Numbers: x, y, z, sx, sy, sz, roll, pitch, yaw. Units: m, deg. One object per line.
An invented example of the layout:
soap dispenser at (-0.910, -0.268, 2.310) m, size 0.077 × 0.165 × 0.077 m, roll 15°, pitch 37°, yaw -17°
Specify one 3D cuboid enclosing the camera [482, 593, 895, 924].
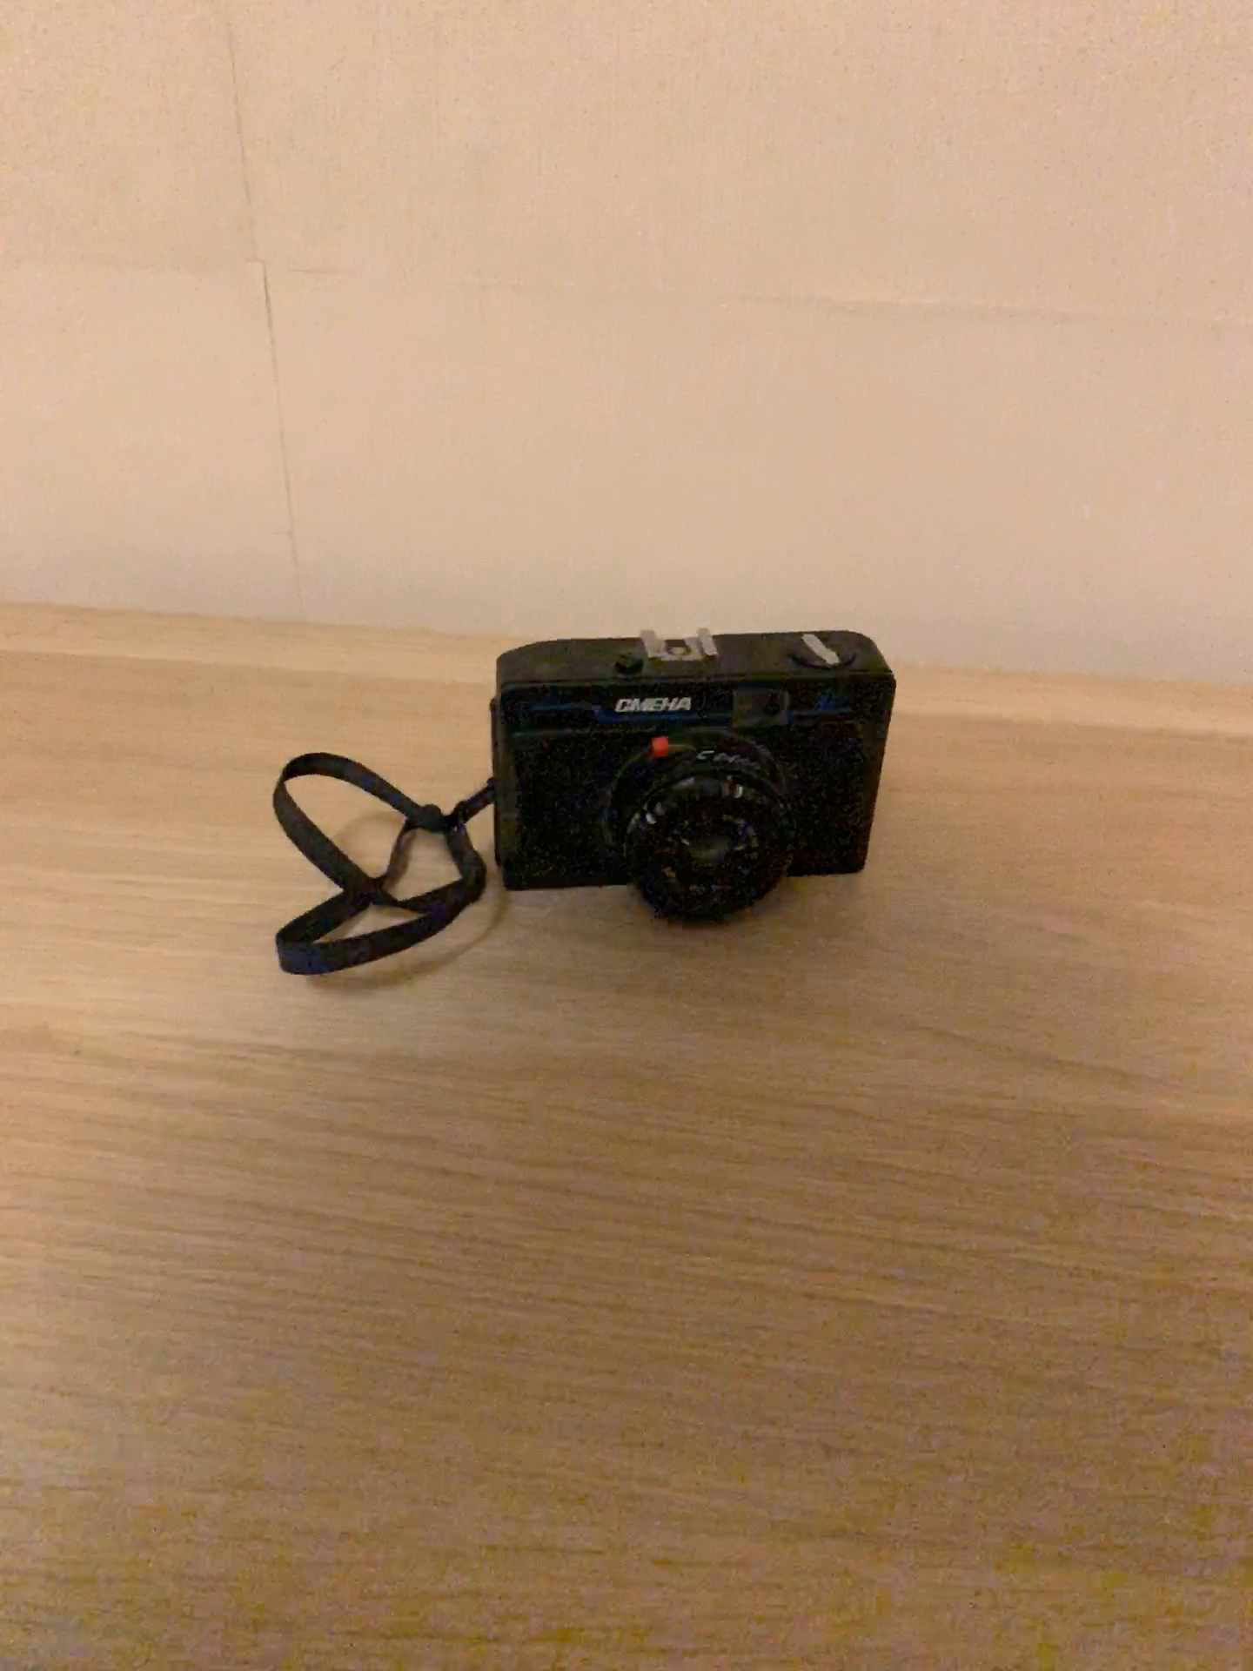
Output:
camera at (0.013, -0.022, 0.384) m, size 0.110 × 0.089 × 0.040 m, roll -1°, pitch 37°, yaw -6°
